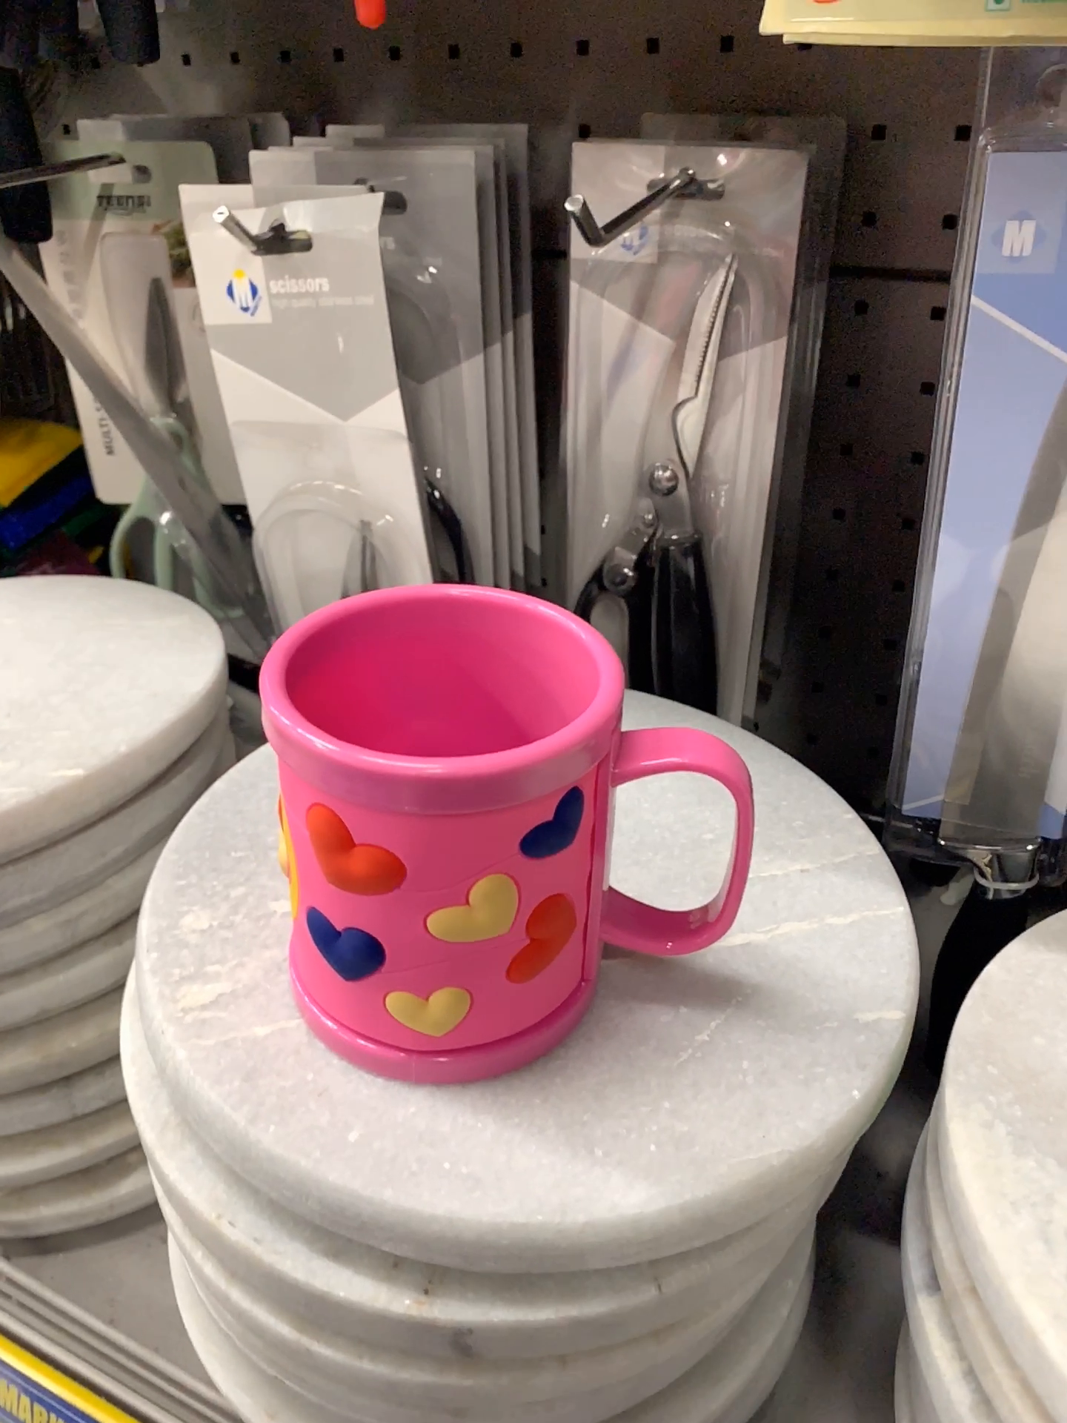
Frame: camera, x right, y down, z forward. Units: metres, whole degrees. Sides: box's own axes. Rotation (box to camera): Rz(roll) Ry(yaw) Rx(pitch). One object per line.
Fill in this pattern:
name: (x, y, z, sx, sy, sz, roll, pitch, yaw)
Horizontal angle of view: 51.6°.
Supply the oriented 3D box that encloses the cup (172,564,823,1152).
cup: (-0.001, 0.030, 0.259, 0.120, 0.100, 0.080, 3, 32, 9)
